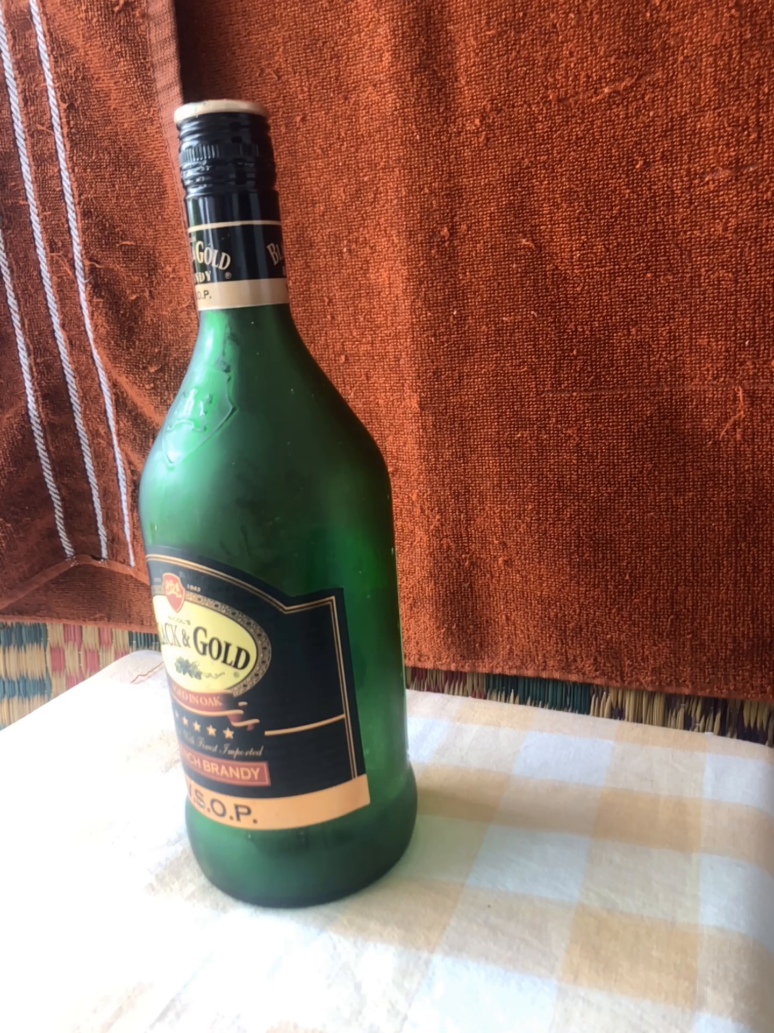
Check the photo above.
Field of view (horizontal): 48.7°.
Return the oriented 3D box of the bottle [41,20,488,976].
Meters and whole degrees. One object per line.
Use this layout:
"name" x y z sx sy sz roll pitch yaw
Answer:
"bottle" -0.031 -0.002 0.282 0.090 0.259 0.080 9 20 39
